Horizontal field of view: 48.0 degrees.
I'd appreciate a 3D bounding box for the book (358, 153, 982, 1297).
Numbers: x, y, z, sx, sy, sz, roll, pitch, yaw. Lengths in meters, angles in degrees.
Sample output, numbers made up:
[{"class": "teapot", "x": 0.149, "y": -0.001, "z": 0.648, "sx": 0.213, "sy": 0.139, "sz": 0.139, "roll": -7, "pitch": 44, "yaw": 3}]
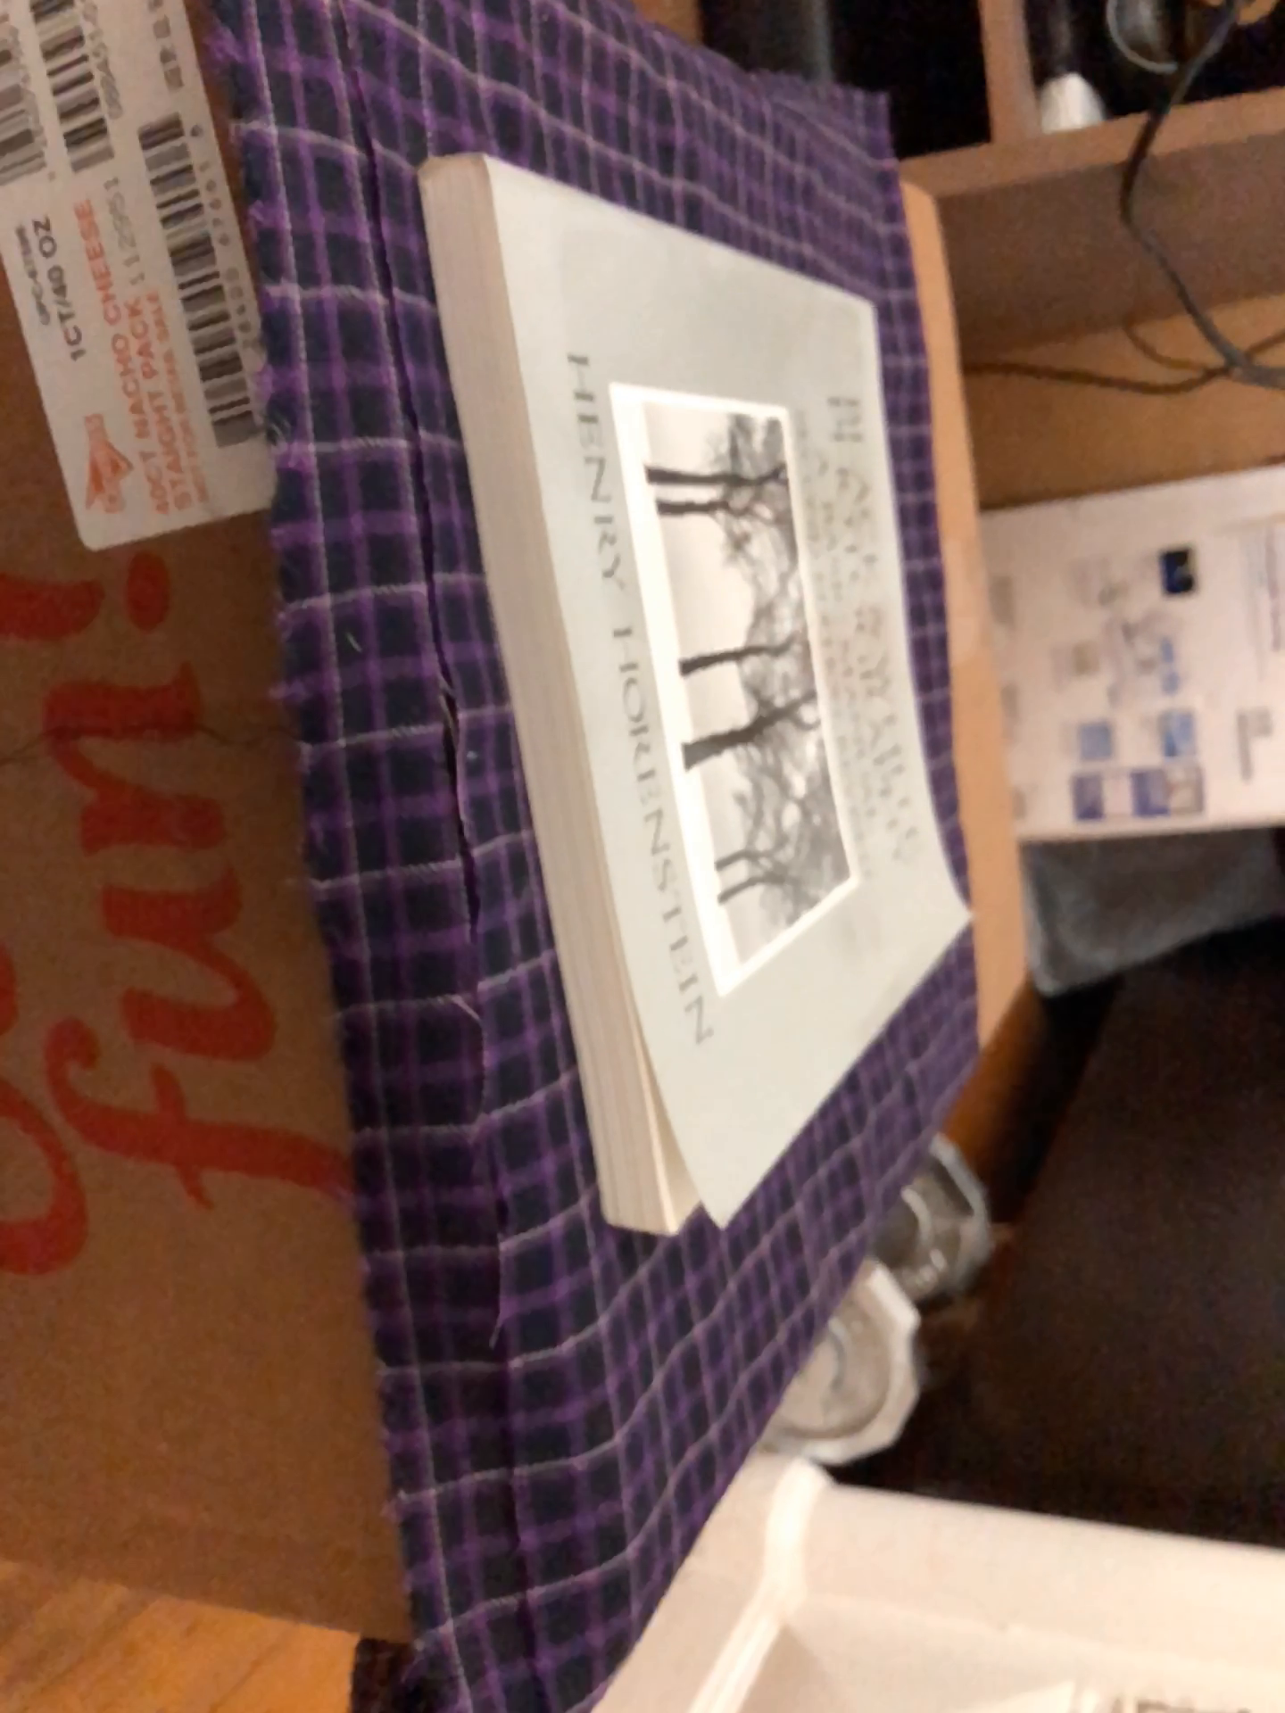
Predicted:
[{"class": "book", "x": 0.033, "y": -0.044, "z": 0.378, "sx": 0.251, "sy": 0.030, "sz": 0.210, "roll": -28, "pitch": 111, "yaw": -61}]
